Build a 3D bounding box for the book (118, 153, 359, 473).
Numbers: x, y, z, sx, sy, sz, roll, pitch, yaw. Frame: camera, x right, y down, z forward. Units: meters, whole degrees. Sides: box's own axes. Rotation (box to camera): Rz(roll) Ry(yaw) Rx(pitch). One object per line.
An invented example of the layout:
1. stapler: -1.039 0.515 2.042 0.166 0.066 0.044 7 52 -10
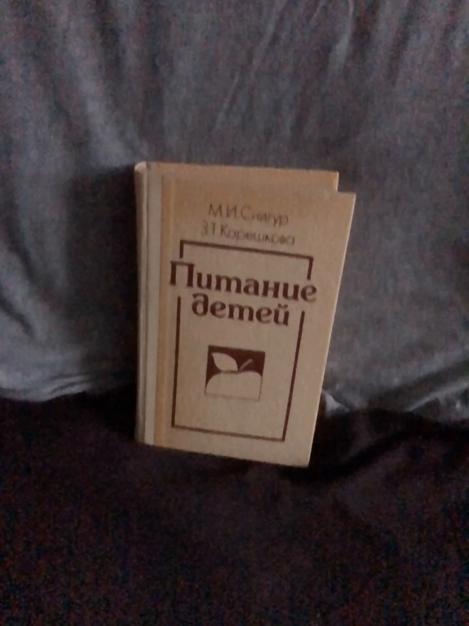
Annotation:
1. book: -0.002 0.007 0.372 0.144 0.219 0.041 5 25 5
